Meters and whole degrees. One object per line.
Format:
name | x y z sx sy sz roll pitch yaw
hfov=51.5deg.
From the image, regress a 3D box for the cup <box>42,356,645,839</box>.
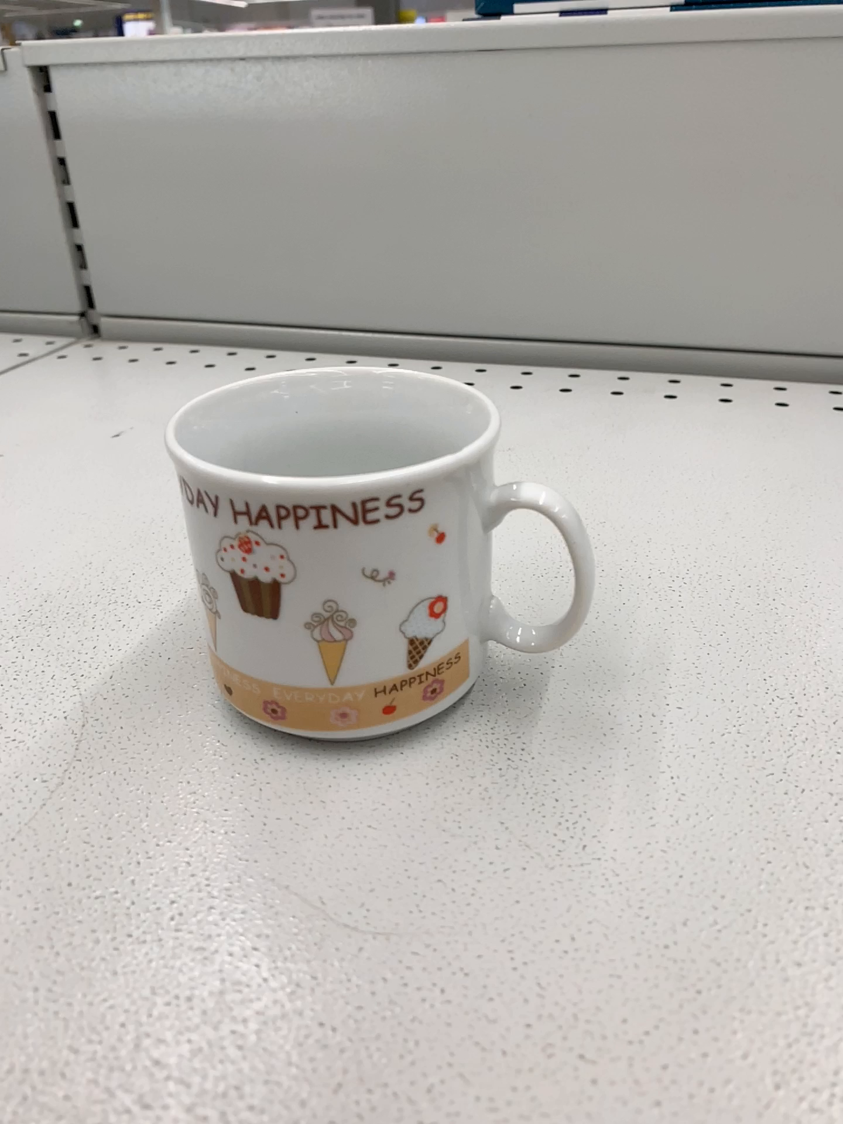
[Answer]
cup | -0.010 -0.001 0.206 0.109 0.069 0.079 8 30 18
